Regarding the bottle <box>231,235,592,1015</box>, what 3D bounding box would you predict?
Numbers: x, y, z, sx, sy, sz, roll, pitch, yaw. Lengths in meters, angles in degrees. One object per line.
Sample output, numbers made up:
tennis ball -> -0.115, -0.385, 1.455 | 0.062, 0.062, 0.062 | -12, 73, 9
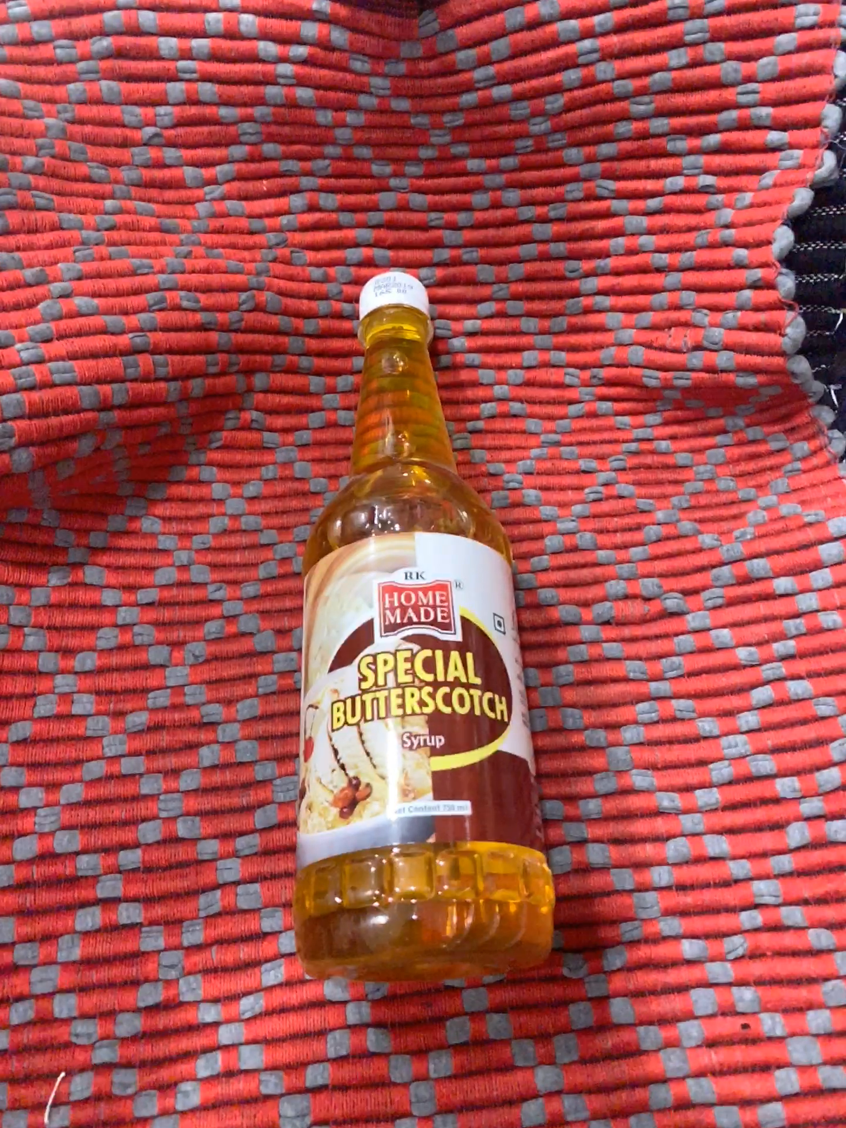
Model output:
bottle -> -0.007, -0.001, 0.291 | 0.080, 0.060, 0.261 | -4, 55, 2
